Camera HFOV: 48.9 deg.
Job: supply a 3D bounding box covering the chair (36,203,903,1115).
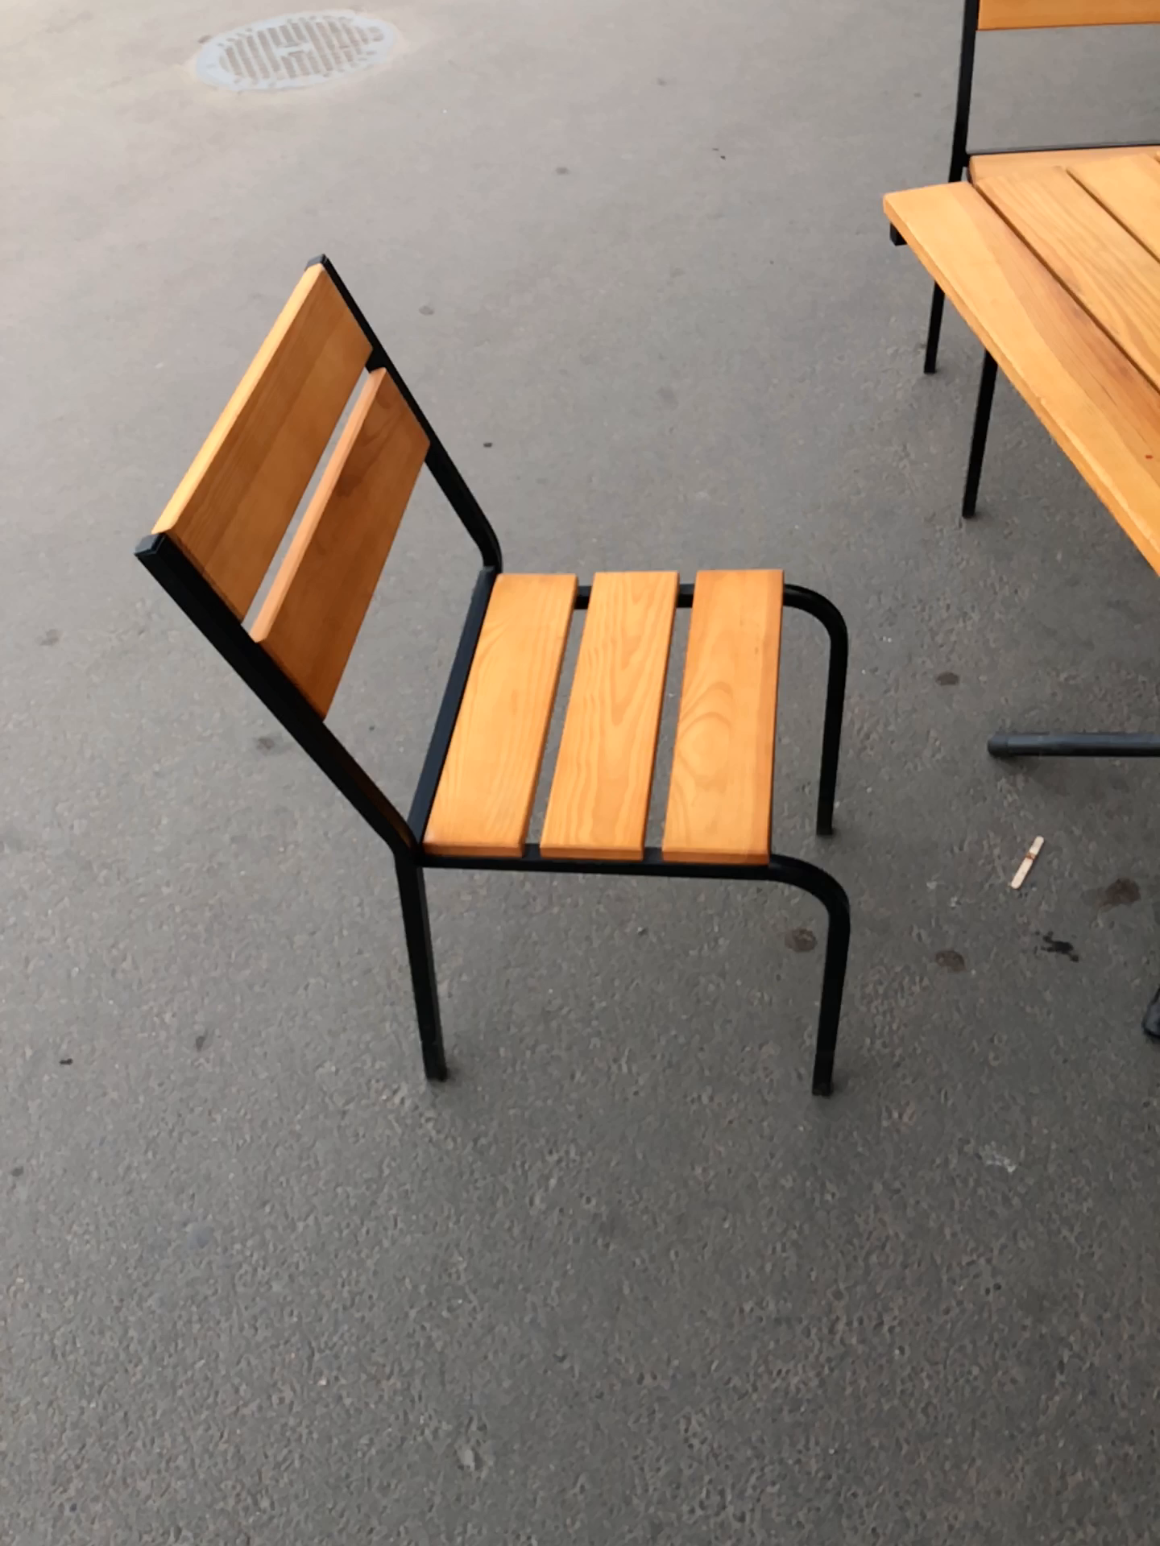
[{"bbox_3d":[-0.014,-0.091,1.176,0.550,0.638,0.492,3,48,10],"label":"chair"}]
